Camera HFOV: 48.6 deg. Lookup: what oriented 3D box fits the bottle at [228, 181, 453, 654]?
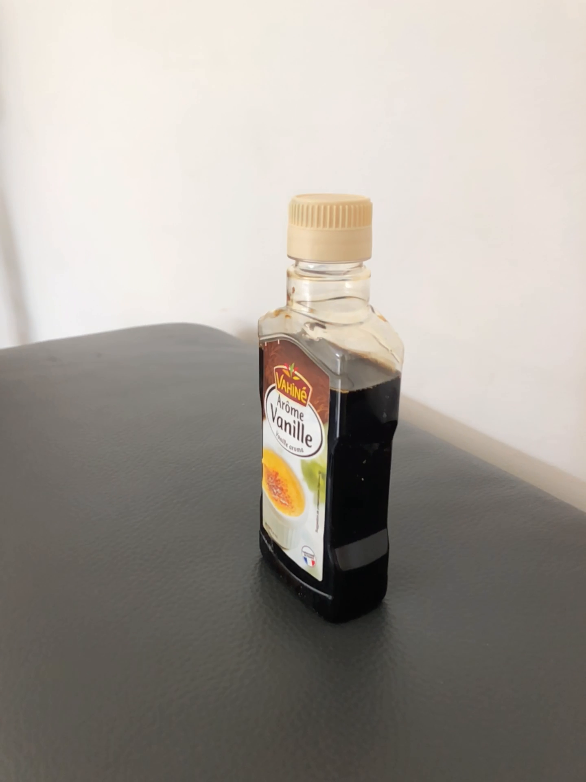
[{"bbox_3d":[0.011,0.008,0.246,0.040,0.159,0.070,-13,27,-32],"label":"bottle"}]
